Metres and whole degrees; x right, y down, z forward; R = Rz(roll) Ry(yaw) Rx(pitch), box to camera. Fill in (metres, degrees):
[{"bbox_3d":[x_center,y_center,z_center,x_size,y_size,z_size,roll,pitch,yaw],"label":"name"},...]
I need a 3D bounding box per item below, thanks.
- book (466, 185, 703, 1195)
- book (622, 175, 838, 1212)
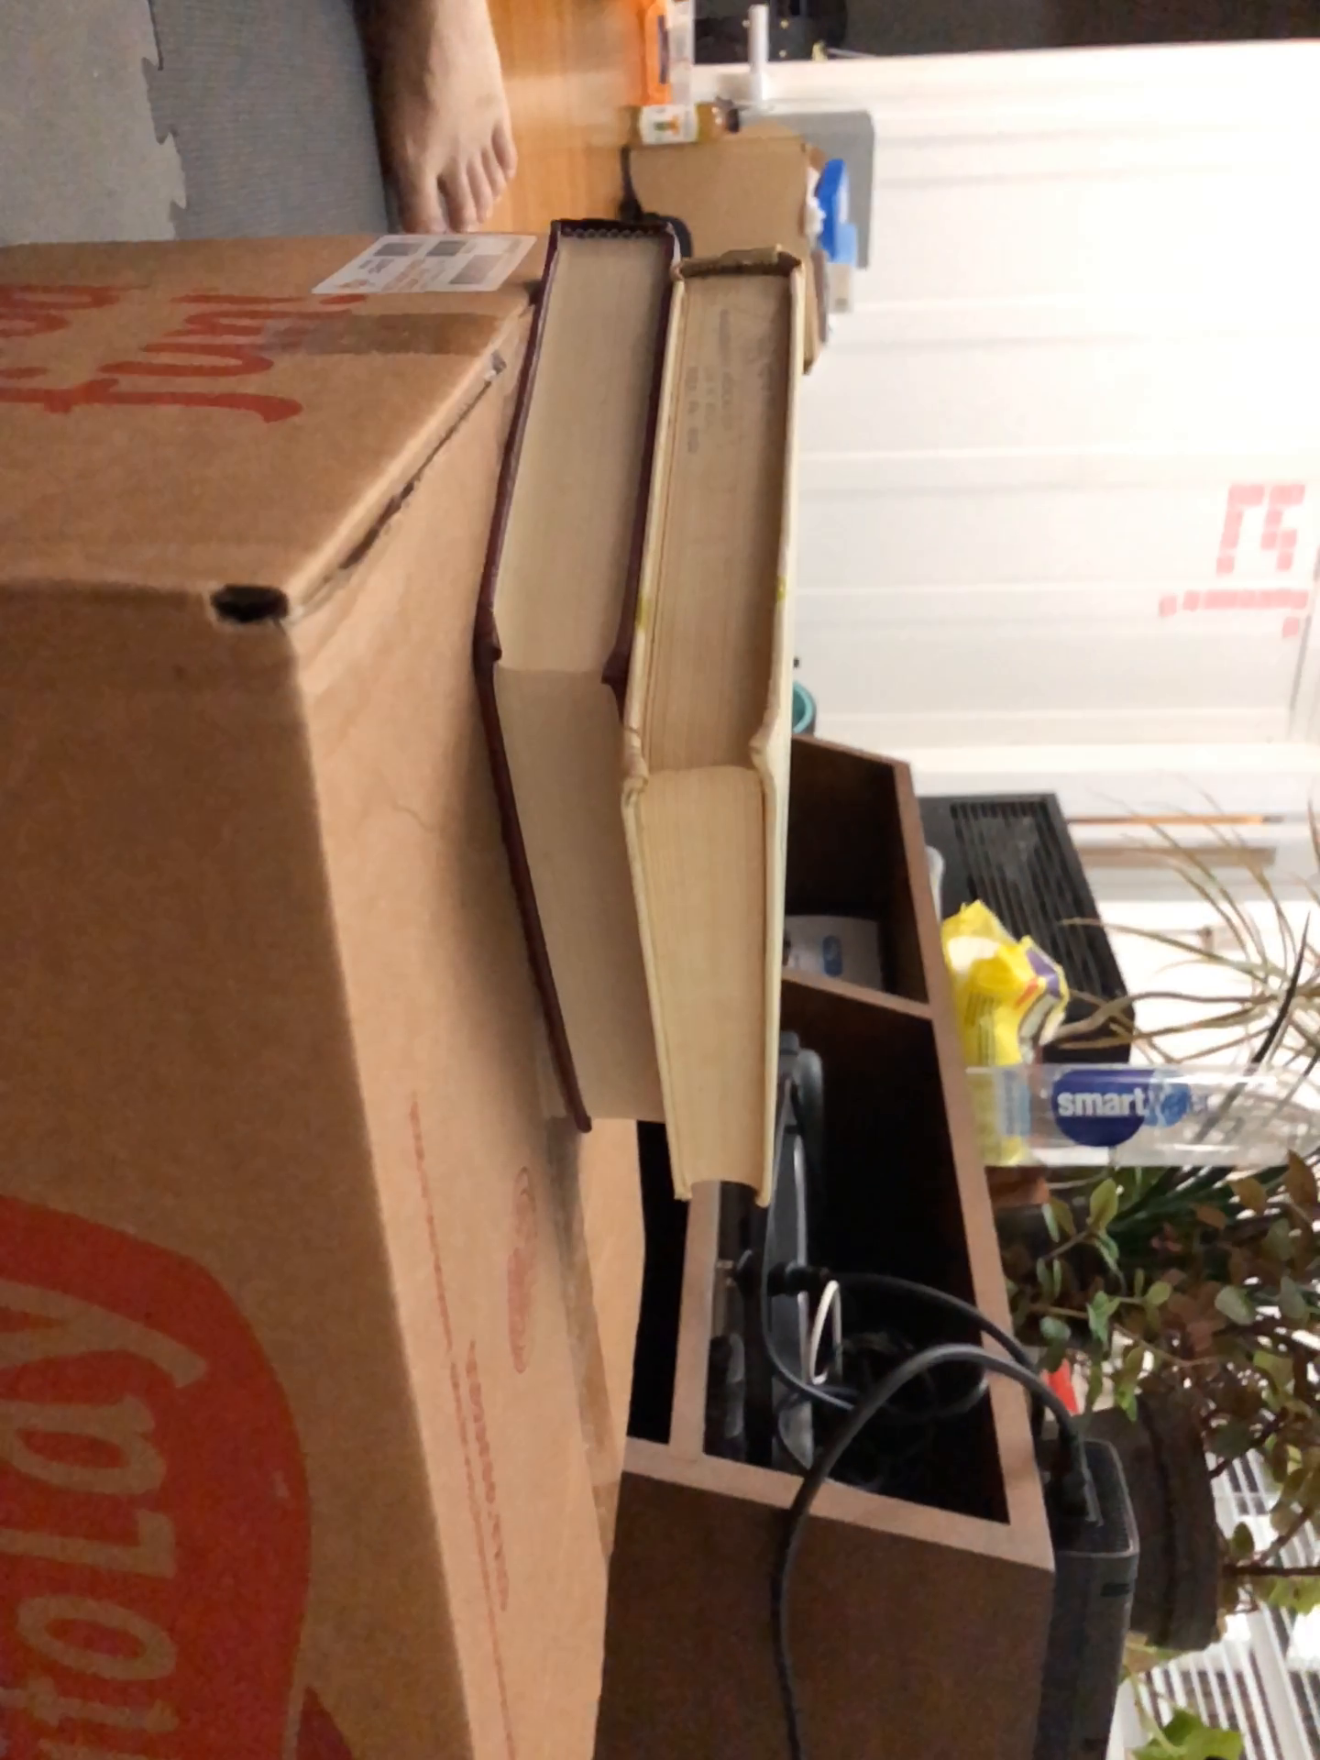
[{"bbox_3d":[-0.010,-0.041,0.442,0.250,0.040,0.180,87,5,-54],"label":"book"},{"bbox_3d":[0.021,-0.035,0.425,0.250,0.040,0.180,87,5,-57],"label":"book"}]
